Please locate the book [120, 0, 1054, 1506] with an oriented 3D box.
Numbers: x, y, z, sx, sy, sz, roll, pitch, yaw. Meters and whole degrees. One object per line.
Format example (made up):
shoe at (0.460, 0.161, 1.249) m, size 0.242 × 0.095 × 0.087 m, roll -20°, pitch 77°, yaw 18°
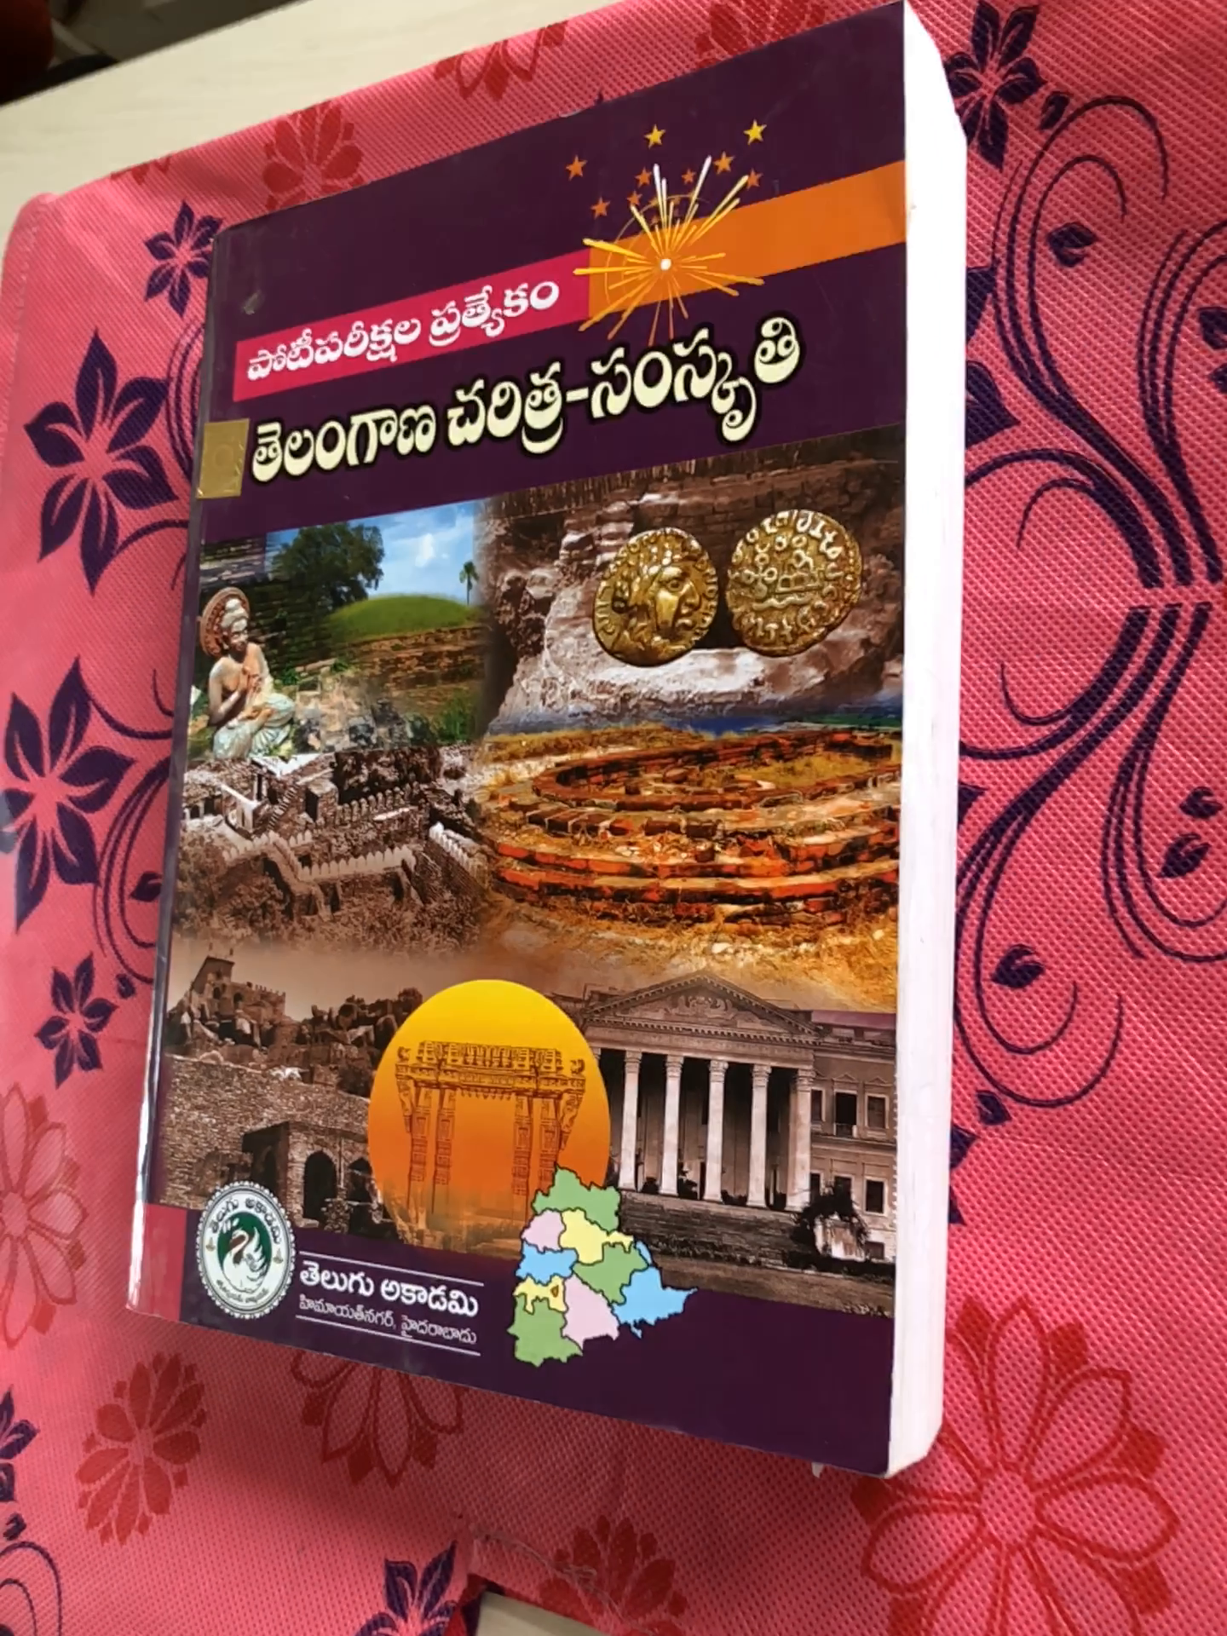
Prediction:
book at (-0.009, -0.024, 0.306) m, size 0.200 × 0.050 × 0.280 m, roll -2°, pitch 81°, yaw 30°
